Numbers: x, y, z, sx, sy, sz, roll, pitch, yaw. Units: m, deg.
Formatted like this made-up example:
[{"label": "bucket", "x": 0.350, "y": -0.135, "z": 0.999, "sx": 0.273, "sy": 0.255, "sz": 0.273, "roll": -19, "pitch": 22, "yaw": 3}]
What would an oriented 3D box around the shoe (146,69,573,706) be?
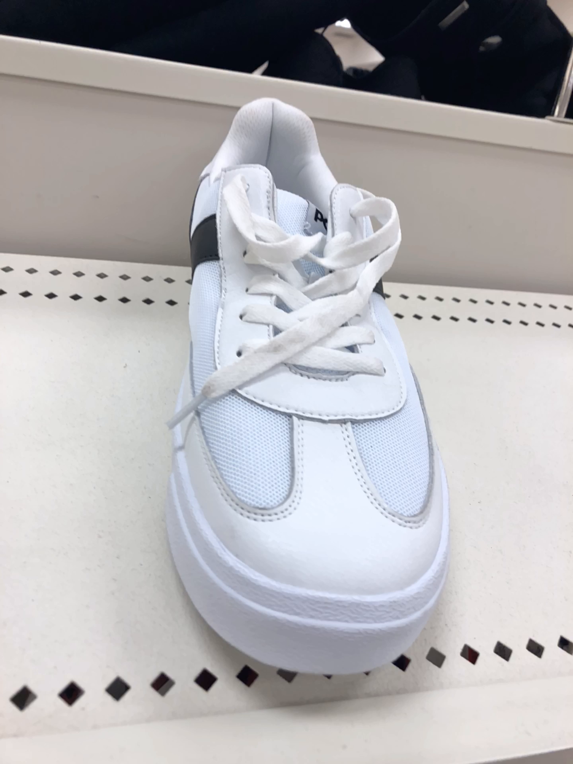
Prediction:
[{"label": "shoe", "x": 0.007, "y": -0.060, "z": 0.305, "sx": 0.113, "sy": 0.129, "sz": 0.373, "roll": 4, "pitch": 28, "yaw": -10}]
